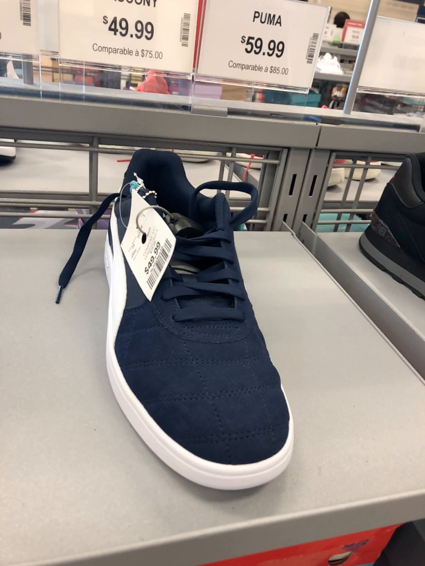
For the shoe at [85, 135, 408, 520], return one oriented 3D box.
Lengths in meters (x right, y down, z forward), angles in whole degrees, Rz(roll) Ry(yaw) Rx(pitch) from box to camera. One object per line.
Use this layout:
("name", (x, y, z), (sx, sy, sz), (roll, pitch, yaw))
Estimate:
("shoe", (-0.015, -0.003, 0.310), (0.119, 0.119, 0.242), (-2, 31, -18))
